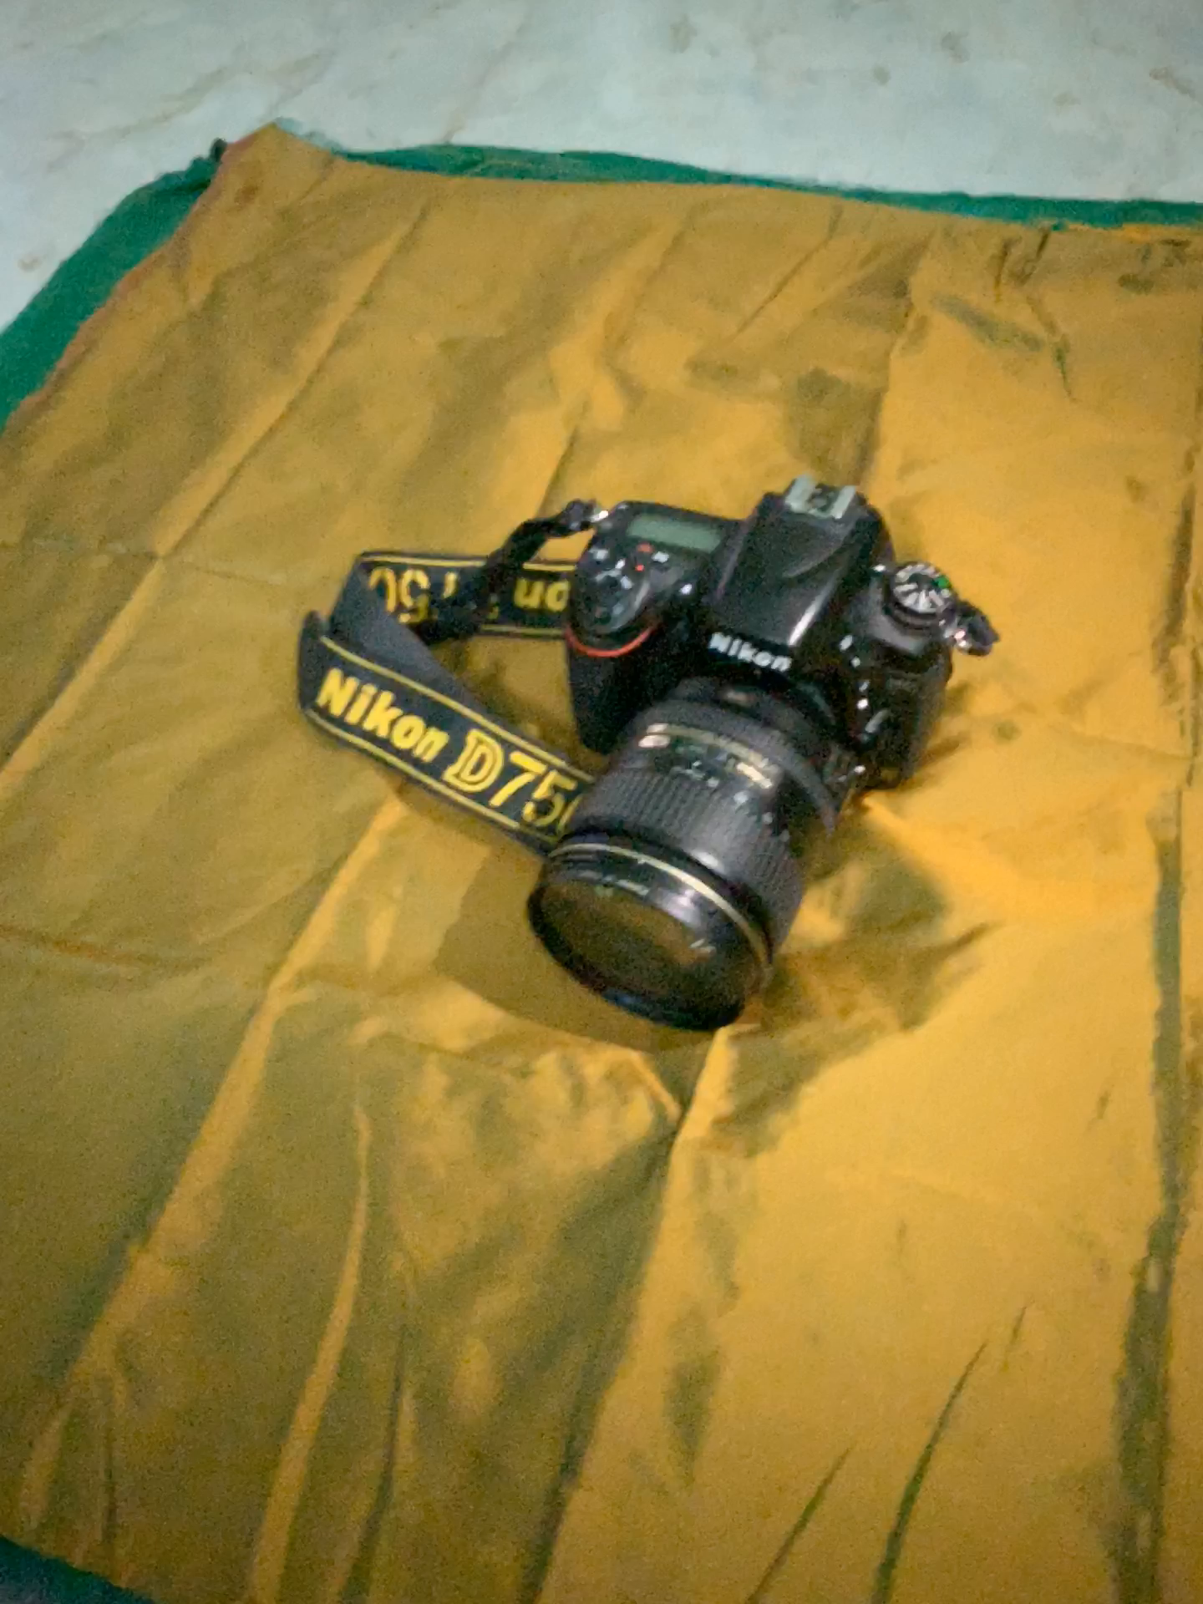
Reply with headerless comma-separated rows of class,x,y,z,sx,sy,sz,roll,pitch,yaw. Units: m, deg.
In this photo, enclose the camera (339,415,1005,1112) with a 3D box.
camera,0.033,-0.023,0.439,0.150,0.101,0.190,18,56,17
